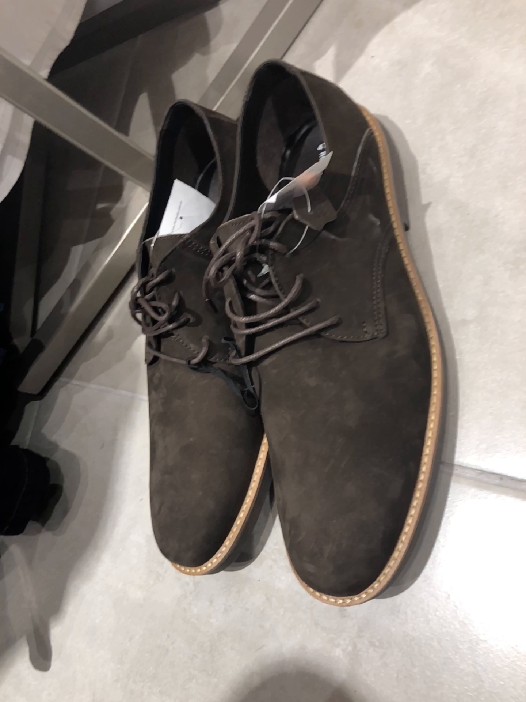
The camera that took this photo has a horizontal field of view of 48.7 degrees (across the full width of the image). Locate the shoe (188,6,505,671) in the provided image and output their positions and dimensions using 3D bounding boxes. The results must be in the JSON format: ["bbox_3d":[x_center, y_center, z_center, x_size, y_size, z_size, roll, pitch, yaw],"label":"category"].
[{"bbox_3d":[0.044,-0.007,0.327,0.110,0.120,0.300,-12,69,33],"label":"shoe"}]

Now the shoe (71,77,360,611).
[{"bbox_3d":[-0.020,-0.002,0.395,0.110,0.120,0.300,-3,74,36],"label":"shoe"}]
